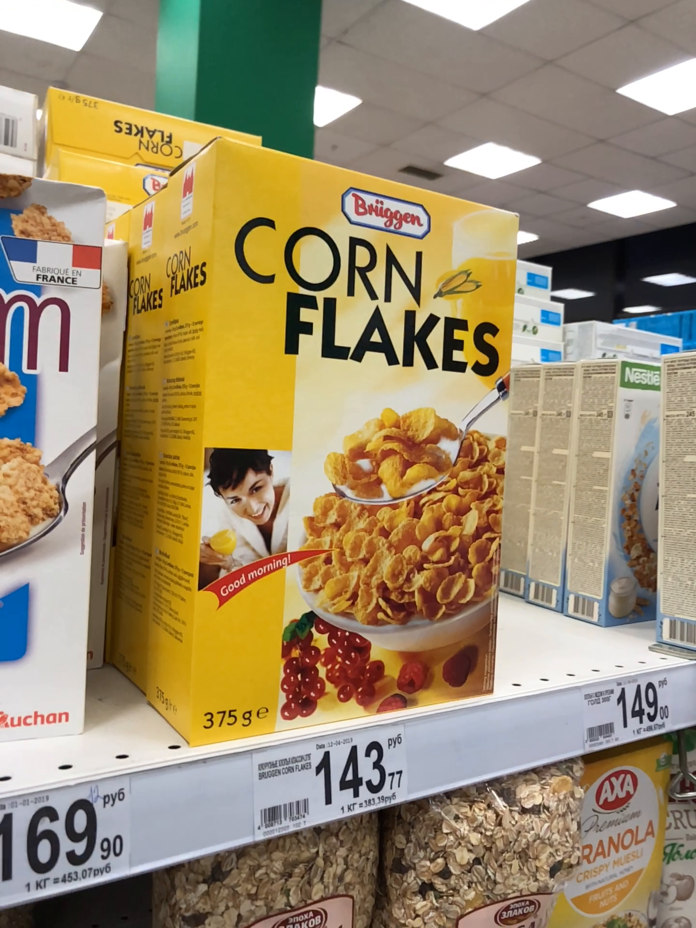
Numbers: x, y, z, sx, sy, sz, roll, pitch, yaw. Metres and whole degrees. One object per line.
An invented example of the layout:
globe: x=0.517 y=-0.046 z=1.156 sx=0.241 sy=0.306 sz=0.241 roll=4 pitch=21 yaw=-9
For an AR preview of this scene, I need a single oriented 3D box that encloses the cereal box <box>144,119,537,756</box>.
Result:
cereal box: x=0.000 y=-0.011 z=0.448 sx=0.200 sy=0.300 sz=0.080 roll=2 pitch=2 yaw=-32
